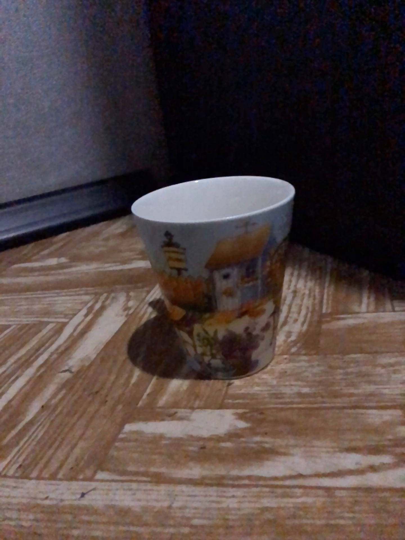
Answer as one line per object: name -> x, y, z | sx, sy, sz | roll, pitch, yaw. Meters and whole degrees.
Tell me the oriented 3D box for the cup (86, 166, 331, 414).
cup -> 0.002, -0.001, 0.255 | 0.079, 0.090, 0.111 | -22, 27, -30
